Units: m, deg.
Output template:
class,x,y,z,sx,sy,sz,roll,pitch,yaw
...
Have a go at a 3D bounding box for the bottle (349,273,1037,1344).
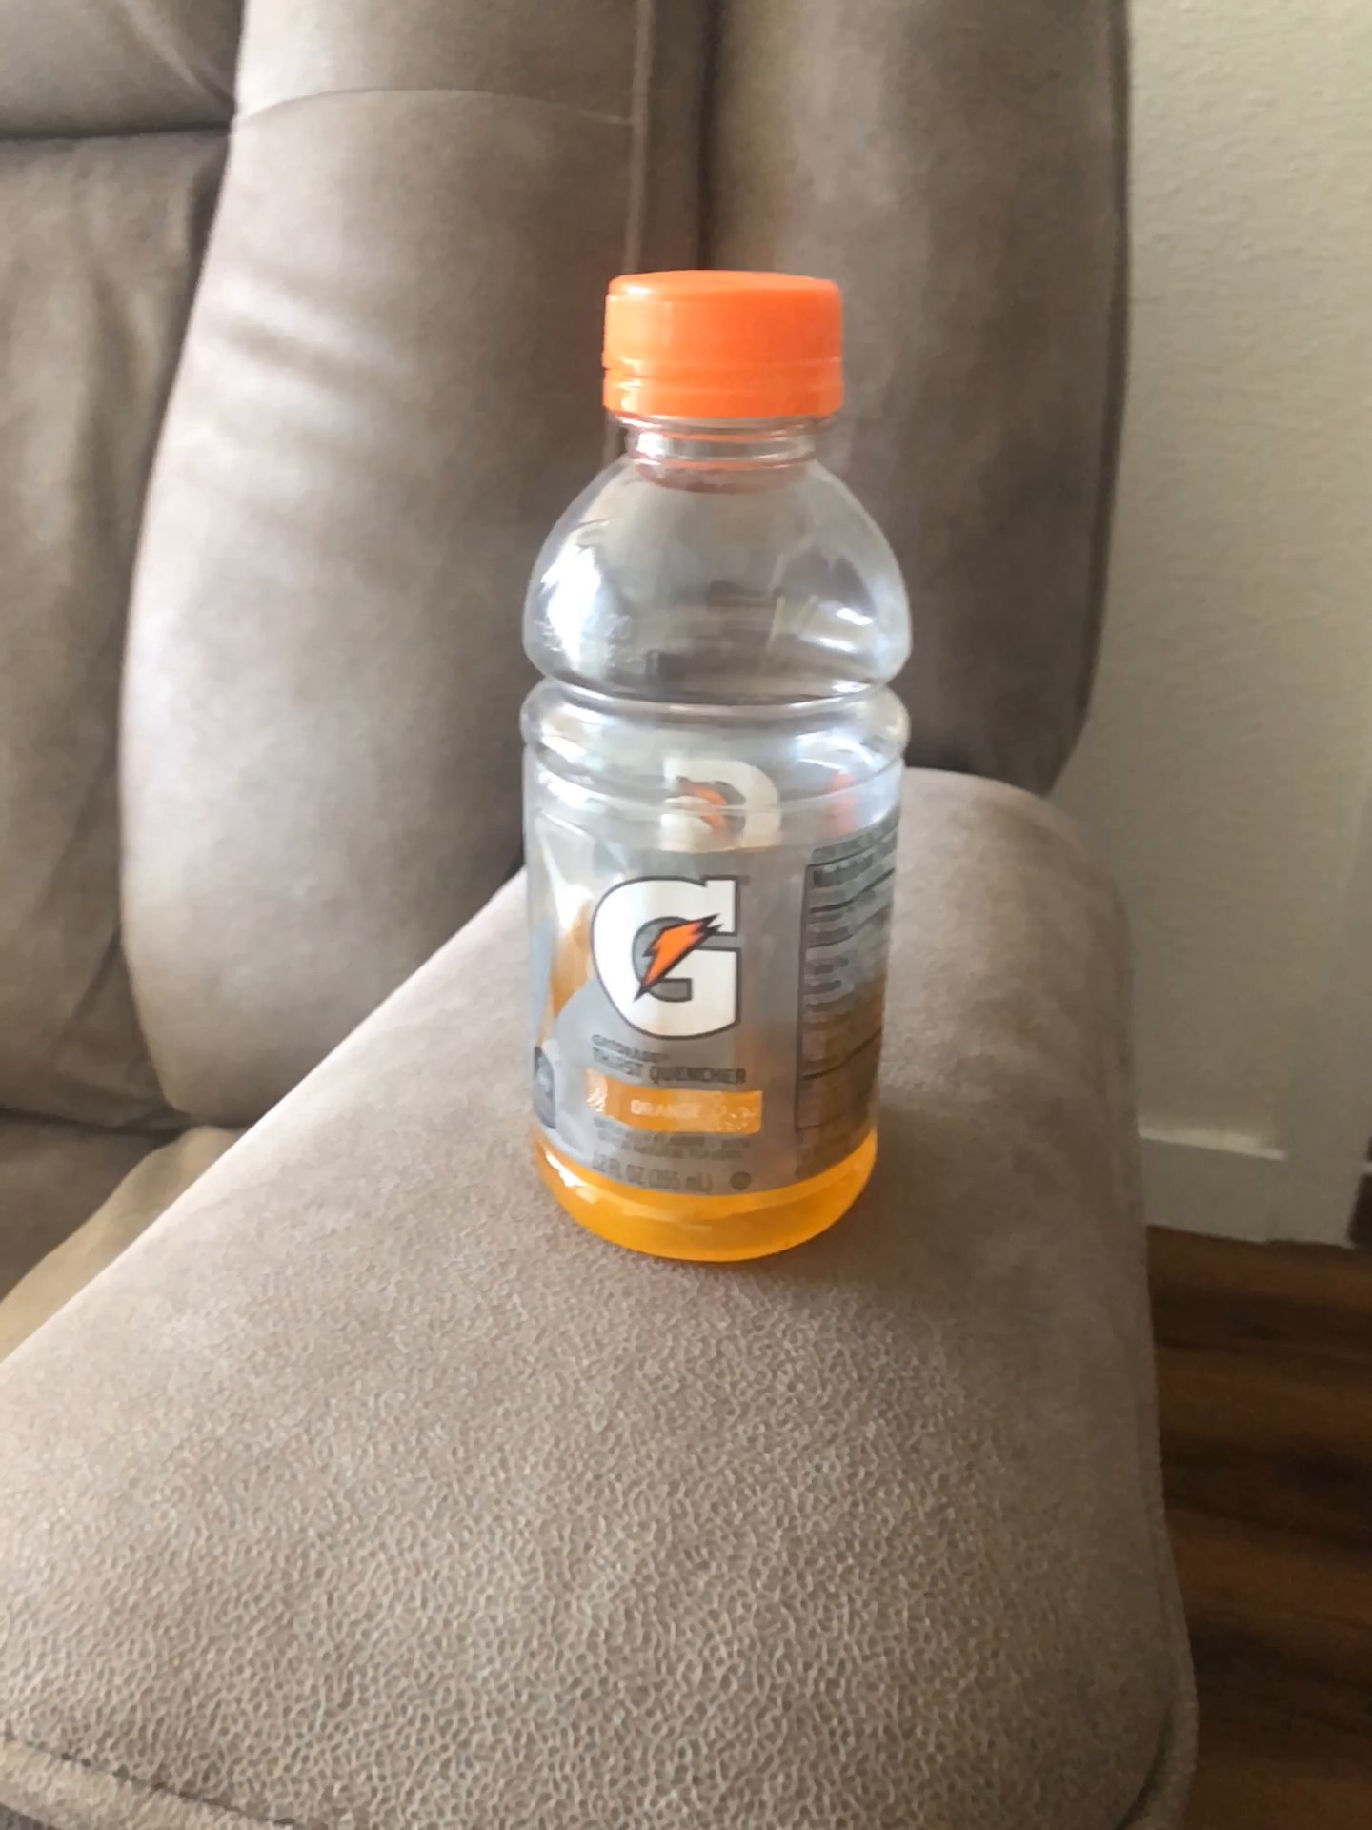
class,x,y,z,sx,sy,sz,roll,pitch,yaw
bottle,0.003,-0.021,0.253,0.070,0.149,0.070,-1,28,0
